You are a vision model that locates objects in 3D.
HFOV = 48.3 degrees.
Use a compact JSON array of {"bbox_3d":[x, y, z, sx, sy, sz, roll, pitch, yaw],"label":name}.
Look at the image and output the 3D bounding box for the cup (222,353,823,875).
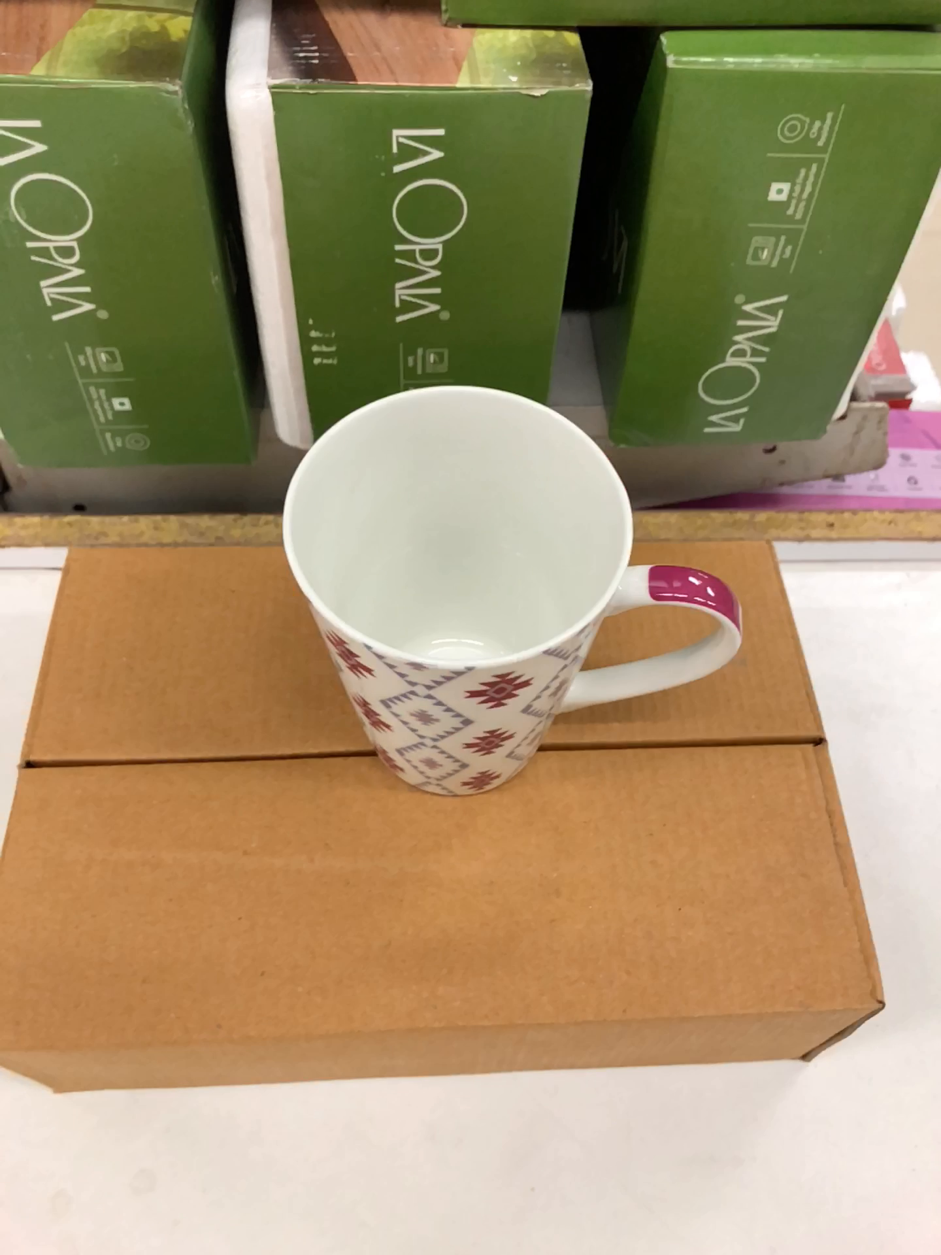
[{"bbox_3d":[0.012,0.001,0.272,0.120,0.099,0.080,6,55,1],"label":"cup"}]
